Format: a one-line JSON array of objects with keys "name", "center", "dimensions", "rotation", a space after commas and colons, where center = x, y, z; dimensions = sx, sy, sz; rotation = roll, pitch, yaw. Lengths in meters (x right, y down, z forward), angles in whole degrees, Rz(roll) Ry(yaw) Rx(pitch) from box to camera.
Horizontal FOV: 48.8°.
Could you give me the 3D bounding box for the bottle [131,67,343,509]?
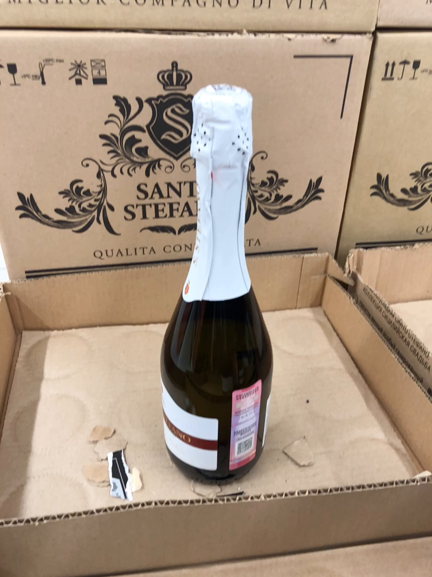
[{"name": "bottle", "center": [0.004, 0.018, 0.344], "dimensions": [0.090, 0.308, 0.090], "rotation": [0, 34, 0]}]
